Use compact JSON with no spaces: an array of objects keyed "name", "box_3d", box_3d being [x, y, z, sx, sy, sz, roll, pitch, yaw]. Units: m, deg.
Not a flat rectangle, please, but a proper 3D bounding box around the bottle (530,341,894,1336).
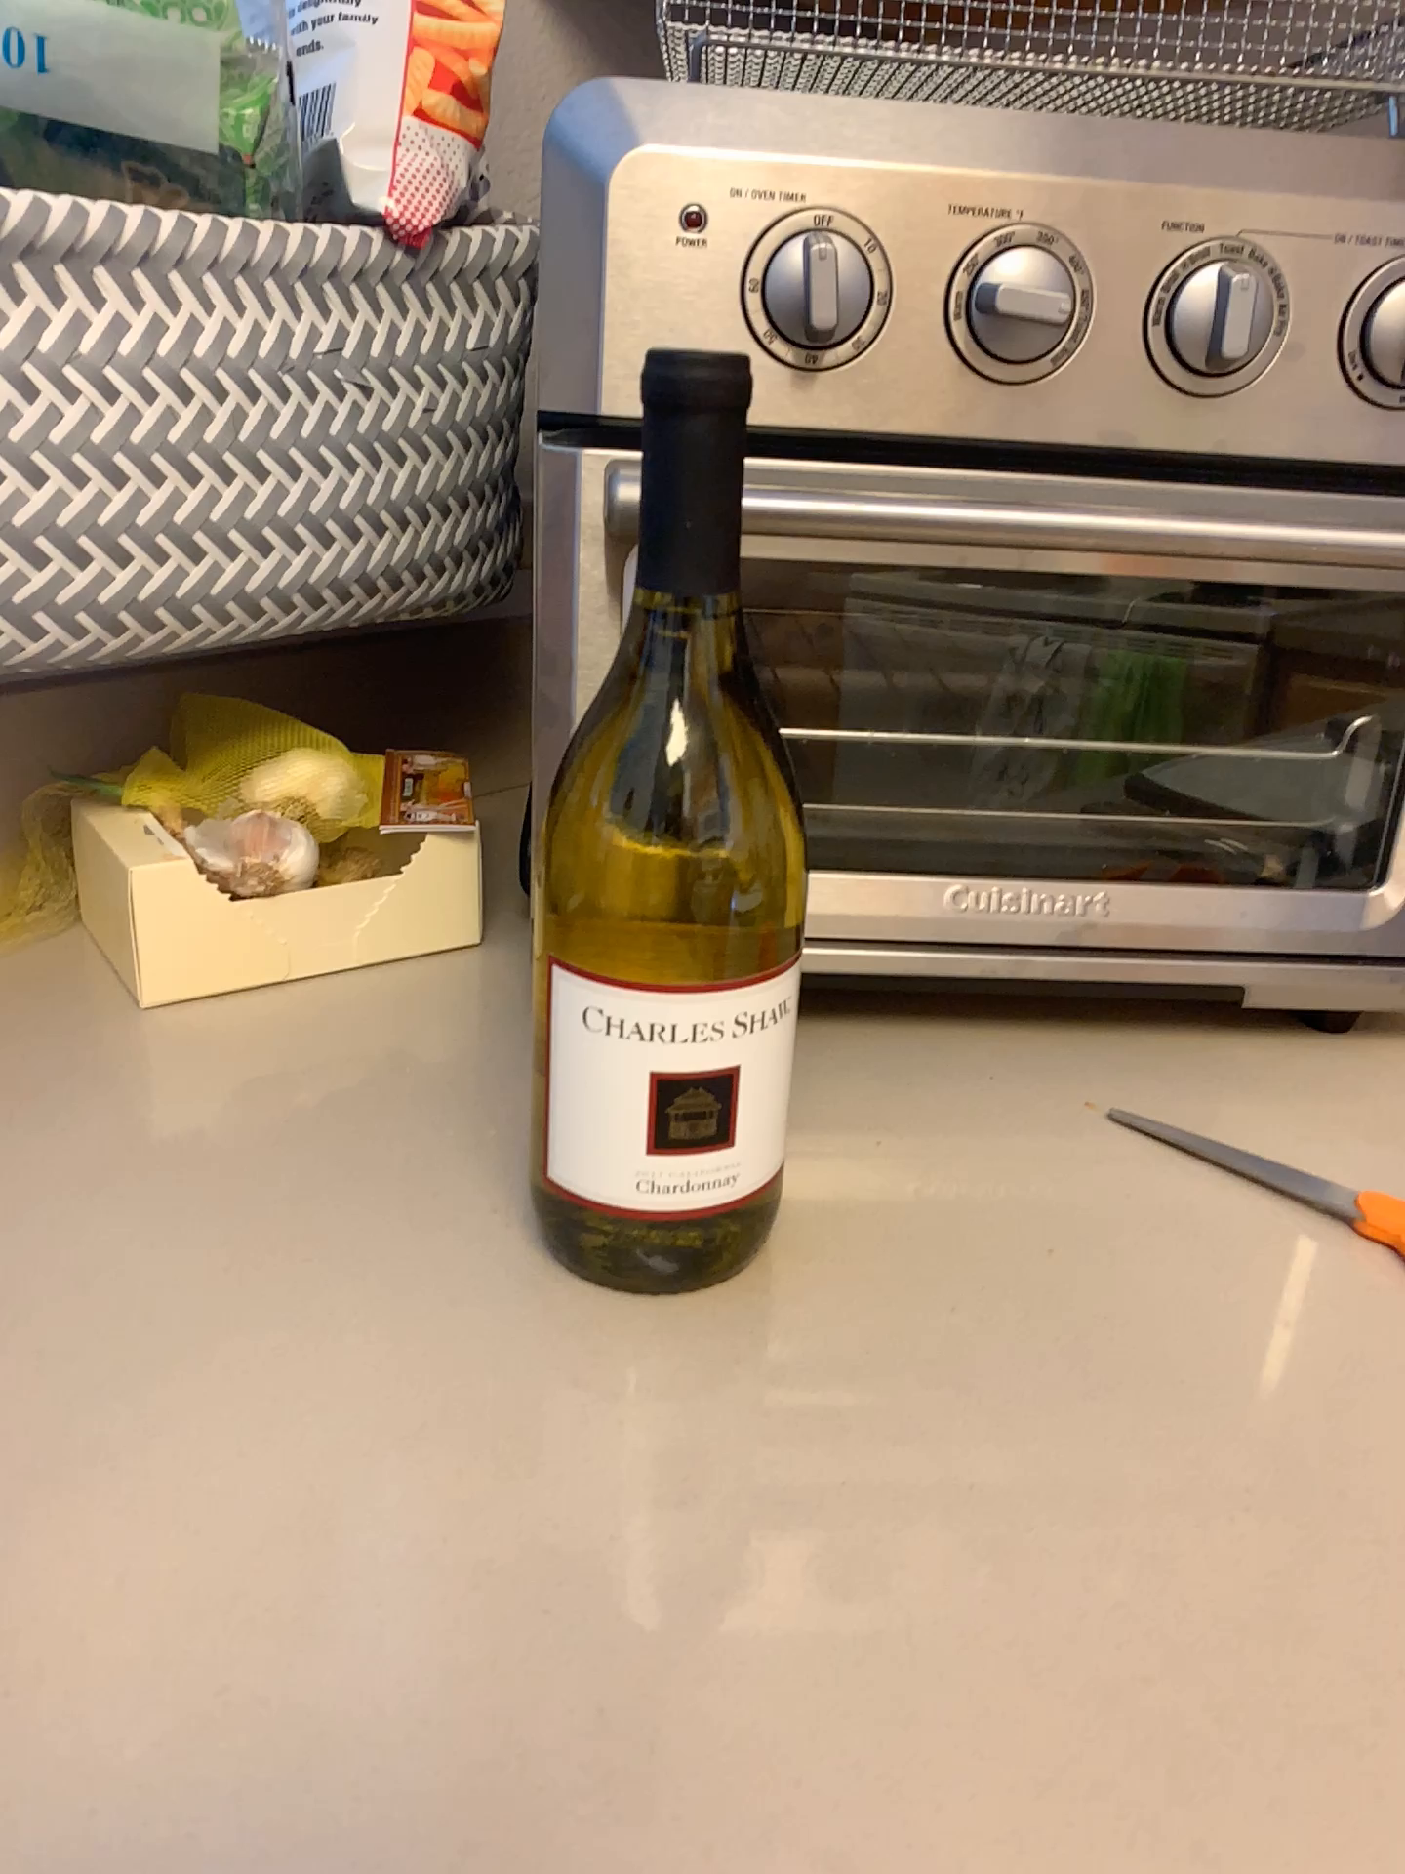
[{"name":"bottle","box_3d":[-0.007,-0.022,0.409,0.080,0.269,0.070,0,22,-8]}]
